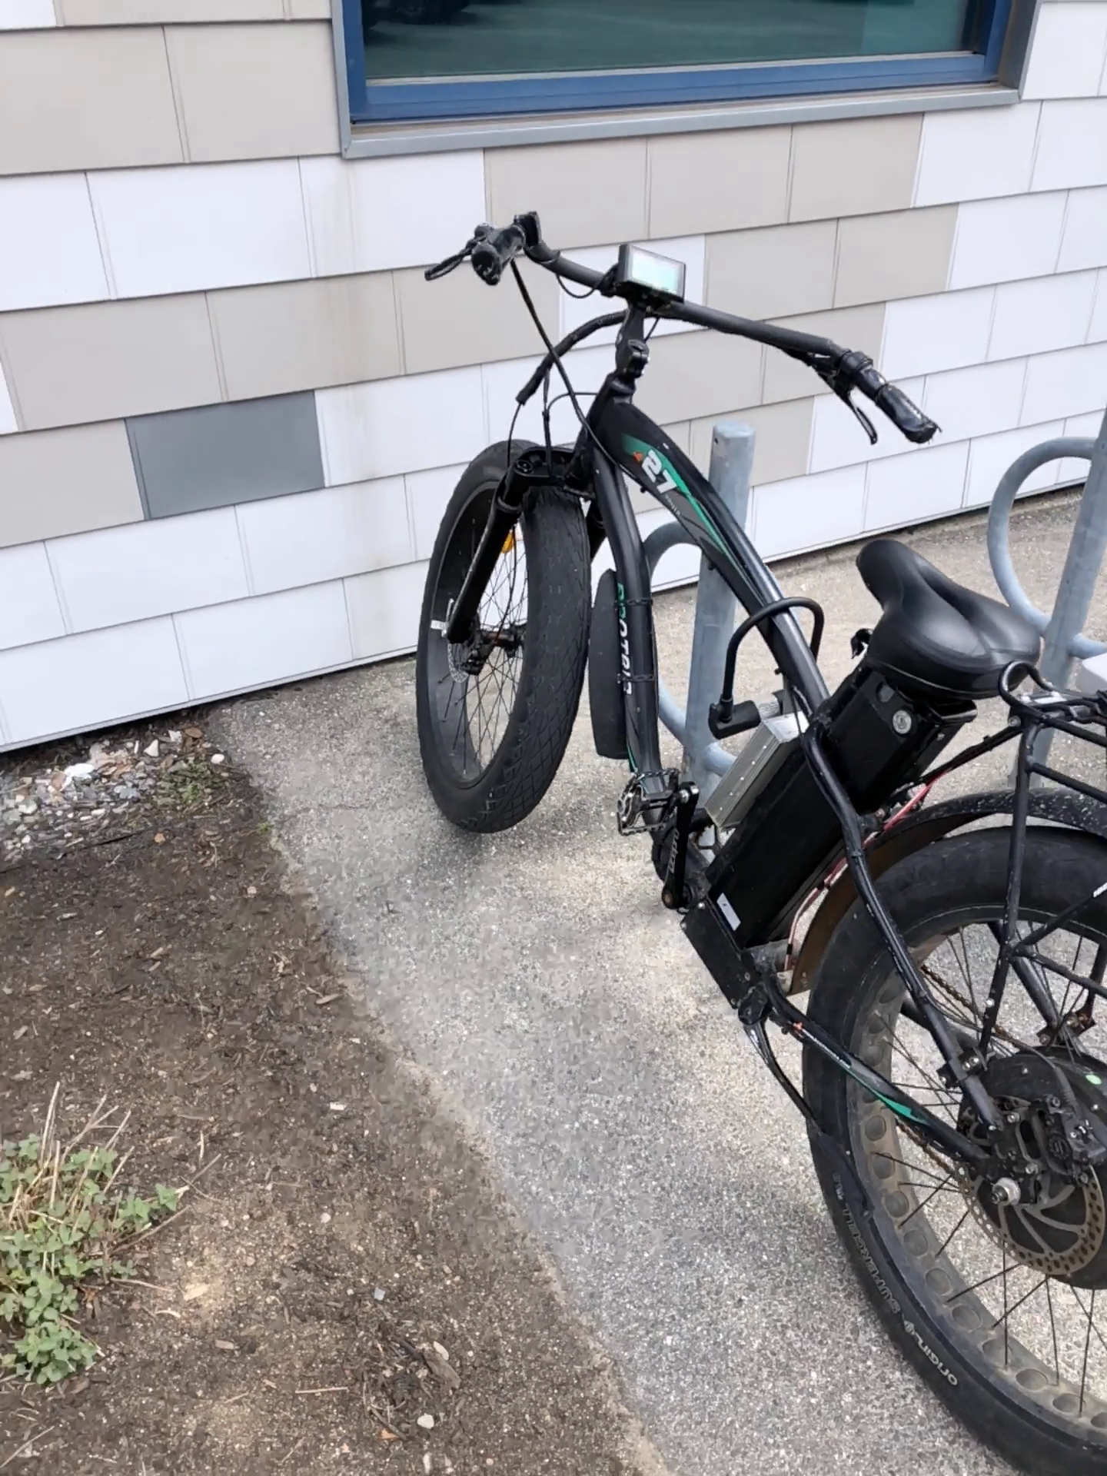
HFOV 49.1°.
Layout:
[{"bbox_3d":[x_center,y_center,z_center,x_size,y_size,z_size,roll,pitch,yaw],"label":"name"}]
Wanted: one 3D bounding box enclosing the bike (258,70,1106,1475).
[{"bbox_3d":[0.361,-0.146,1.803,0.879,1.170,2.120,-16,40,-23],"label":"bike"}]
